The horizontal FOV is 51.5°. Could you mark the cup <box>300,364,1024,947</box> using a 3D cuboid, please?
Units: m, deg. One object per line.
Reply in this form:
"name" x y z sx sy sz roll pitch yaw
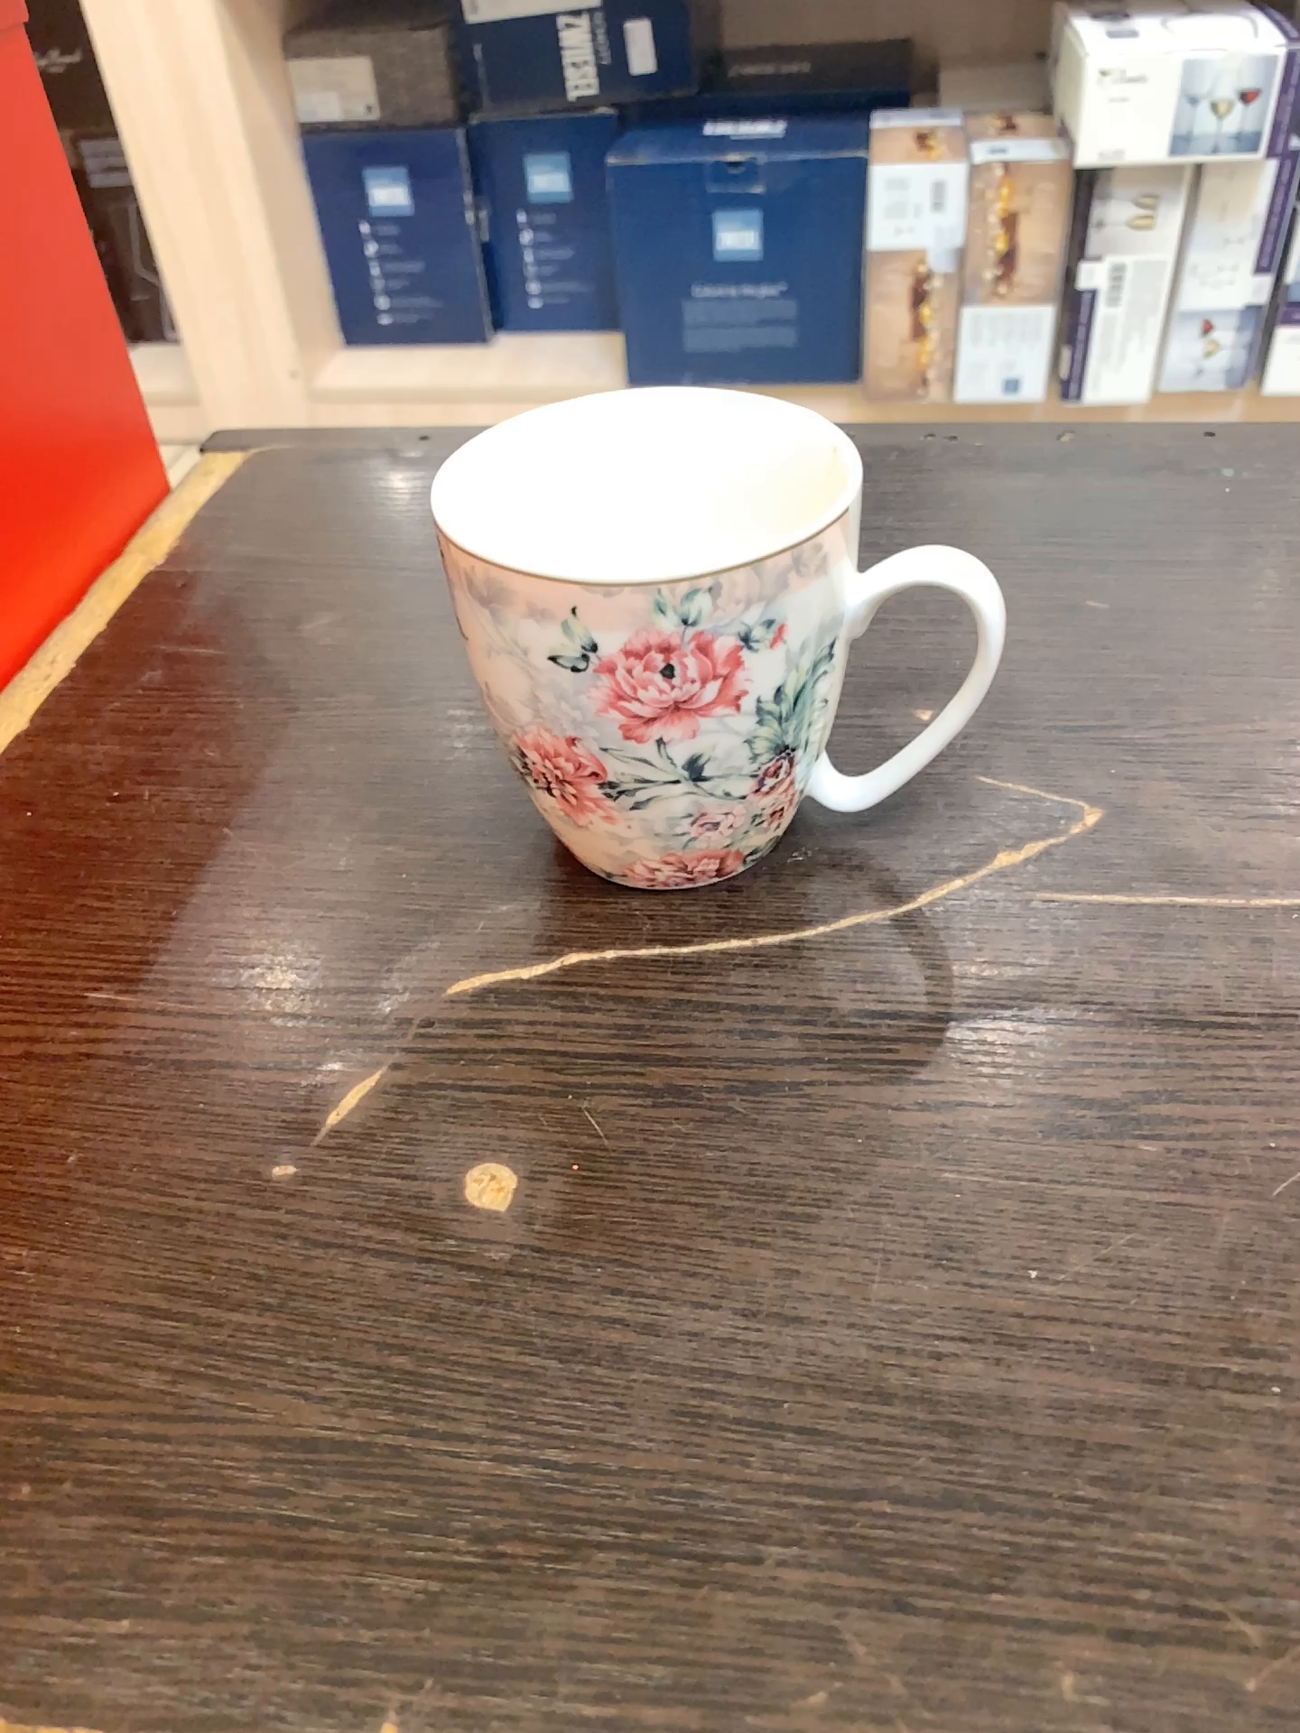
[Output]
"cup" 0.008 -0.045 0.260 0.110 0.070 0.080 8 43 15
